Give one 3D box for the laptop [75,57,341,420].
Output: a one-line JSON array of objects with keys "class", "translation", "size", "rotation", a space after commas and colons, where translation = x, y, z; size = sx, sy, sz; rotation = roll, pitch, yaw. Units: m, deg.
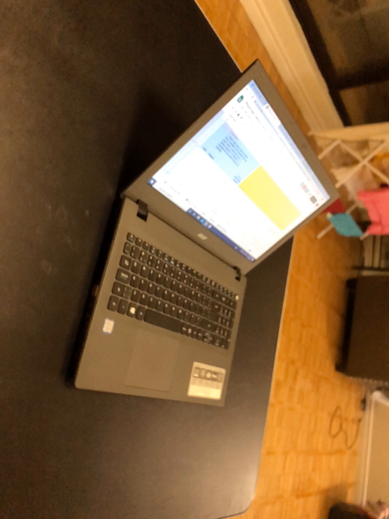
[{"class": "laptop", "translation": [0.070, 0.007, 0.679], "size": [0.376, 0.161, 0.429], "rotation": [31, 66, -51]}]
